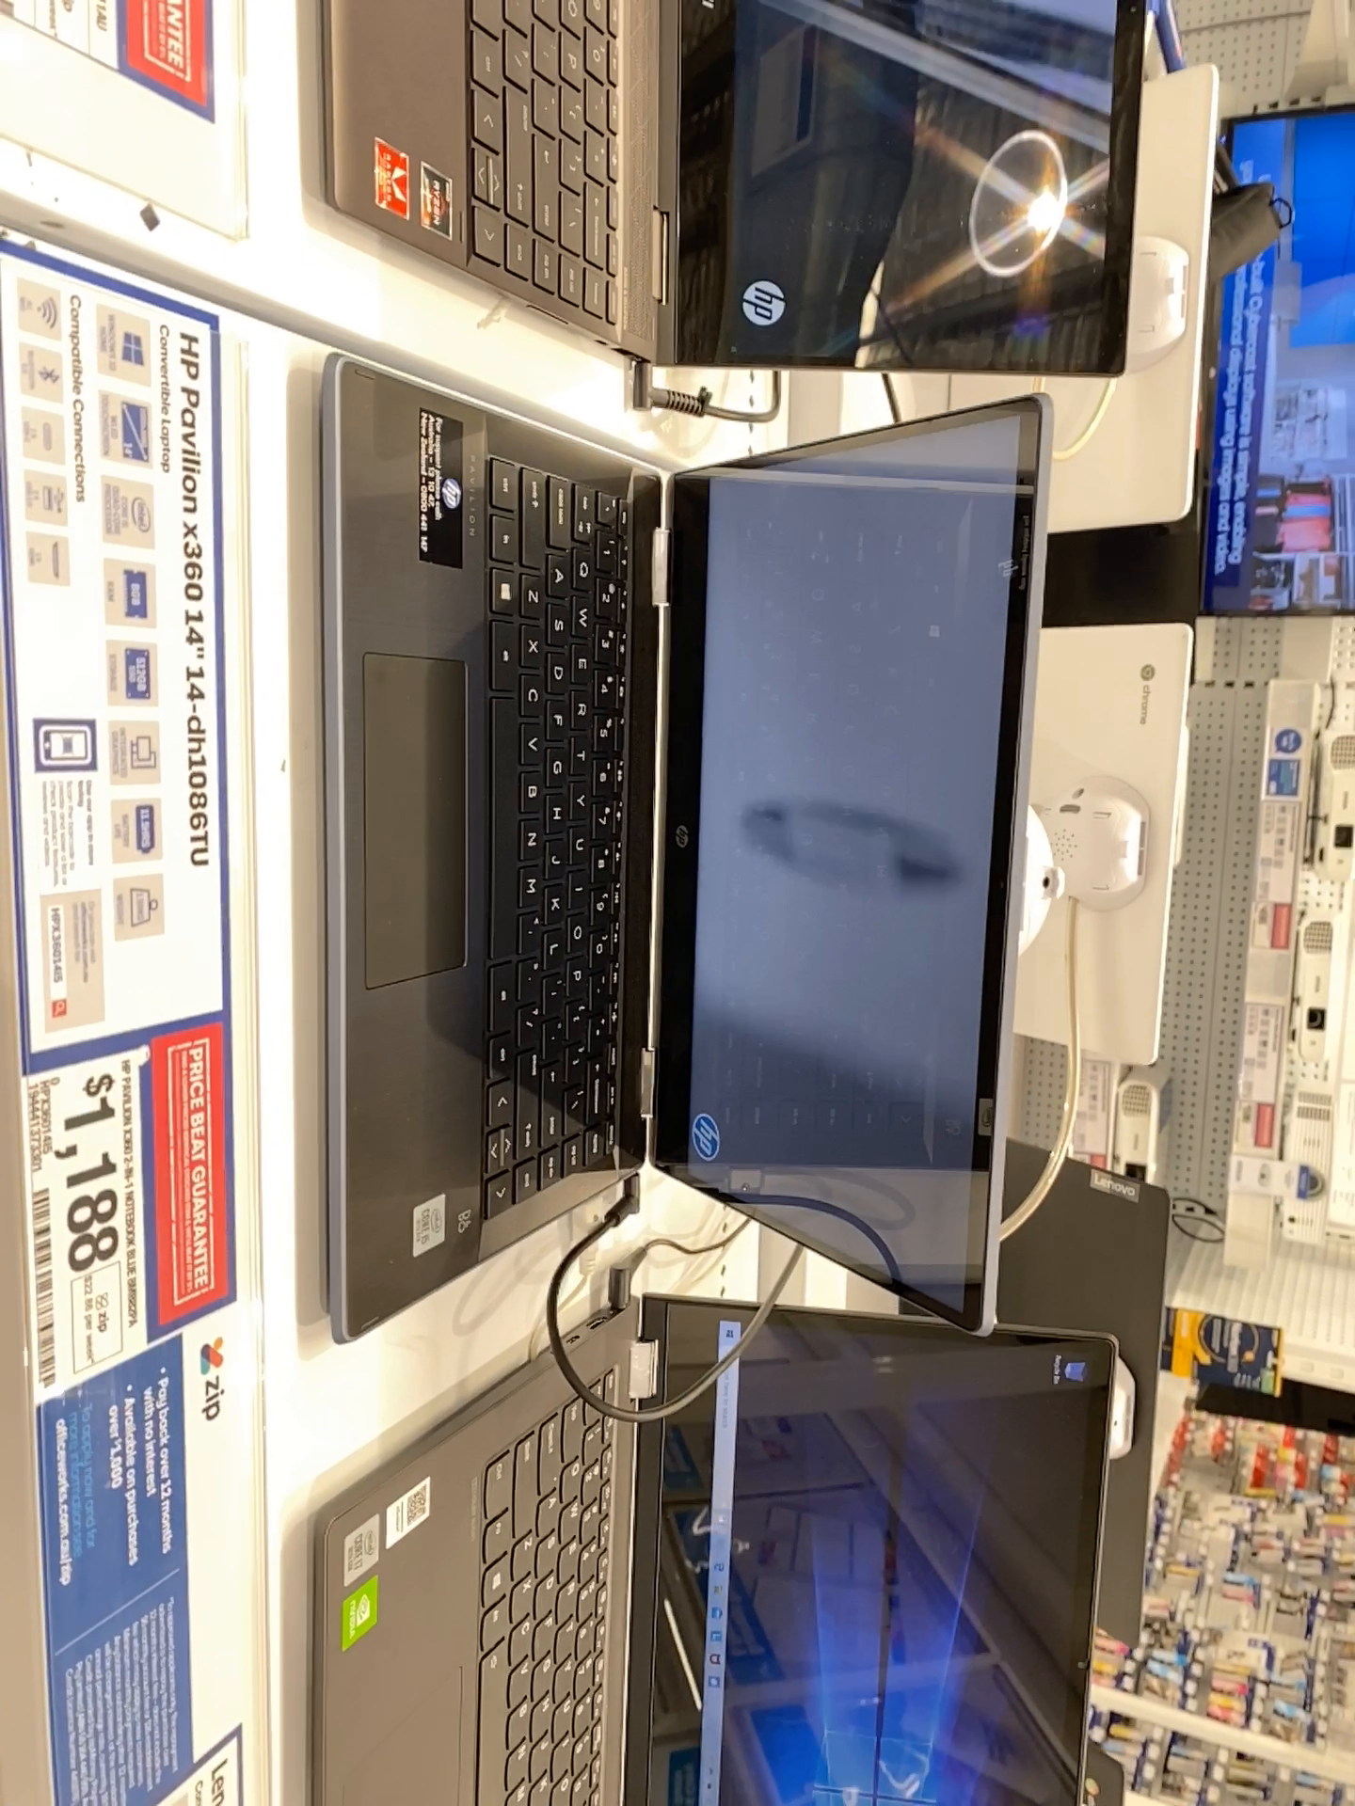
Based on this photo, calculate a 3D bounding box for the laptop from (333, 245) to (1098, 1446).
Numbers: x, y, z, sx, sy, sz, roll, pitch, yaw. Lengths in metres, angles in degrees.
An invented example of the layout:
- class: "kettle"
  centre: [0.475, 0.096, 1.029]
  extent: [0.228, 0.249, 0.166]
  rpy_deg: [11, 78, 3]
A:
- class: "laptop"
  centre: [0.024, -0.025, 0.496]
  extent: [0.212, 0.189, 0.313]
  rpy_deg: [-14, 107, -62]

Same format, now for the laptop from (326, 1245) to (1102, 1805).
- class: "laptop"
  centre: [0.036, 0.351, 0.569]
  extent: [0.295, 0.199, 0.306]
  rpy_deg: [-8, 101, -62]

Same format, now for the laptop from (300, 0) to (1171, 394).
- class: "laptop"
  centre: [0.052, -0.393, 0.502]
  extent: [0.326, 0.173, 0.325]
  rpy_deg: [-12, 103, -61]
